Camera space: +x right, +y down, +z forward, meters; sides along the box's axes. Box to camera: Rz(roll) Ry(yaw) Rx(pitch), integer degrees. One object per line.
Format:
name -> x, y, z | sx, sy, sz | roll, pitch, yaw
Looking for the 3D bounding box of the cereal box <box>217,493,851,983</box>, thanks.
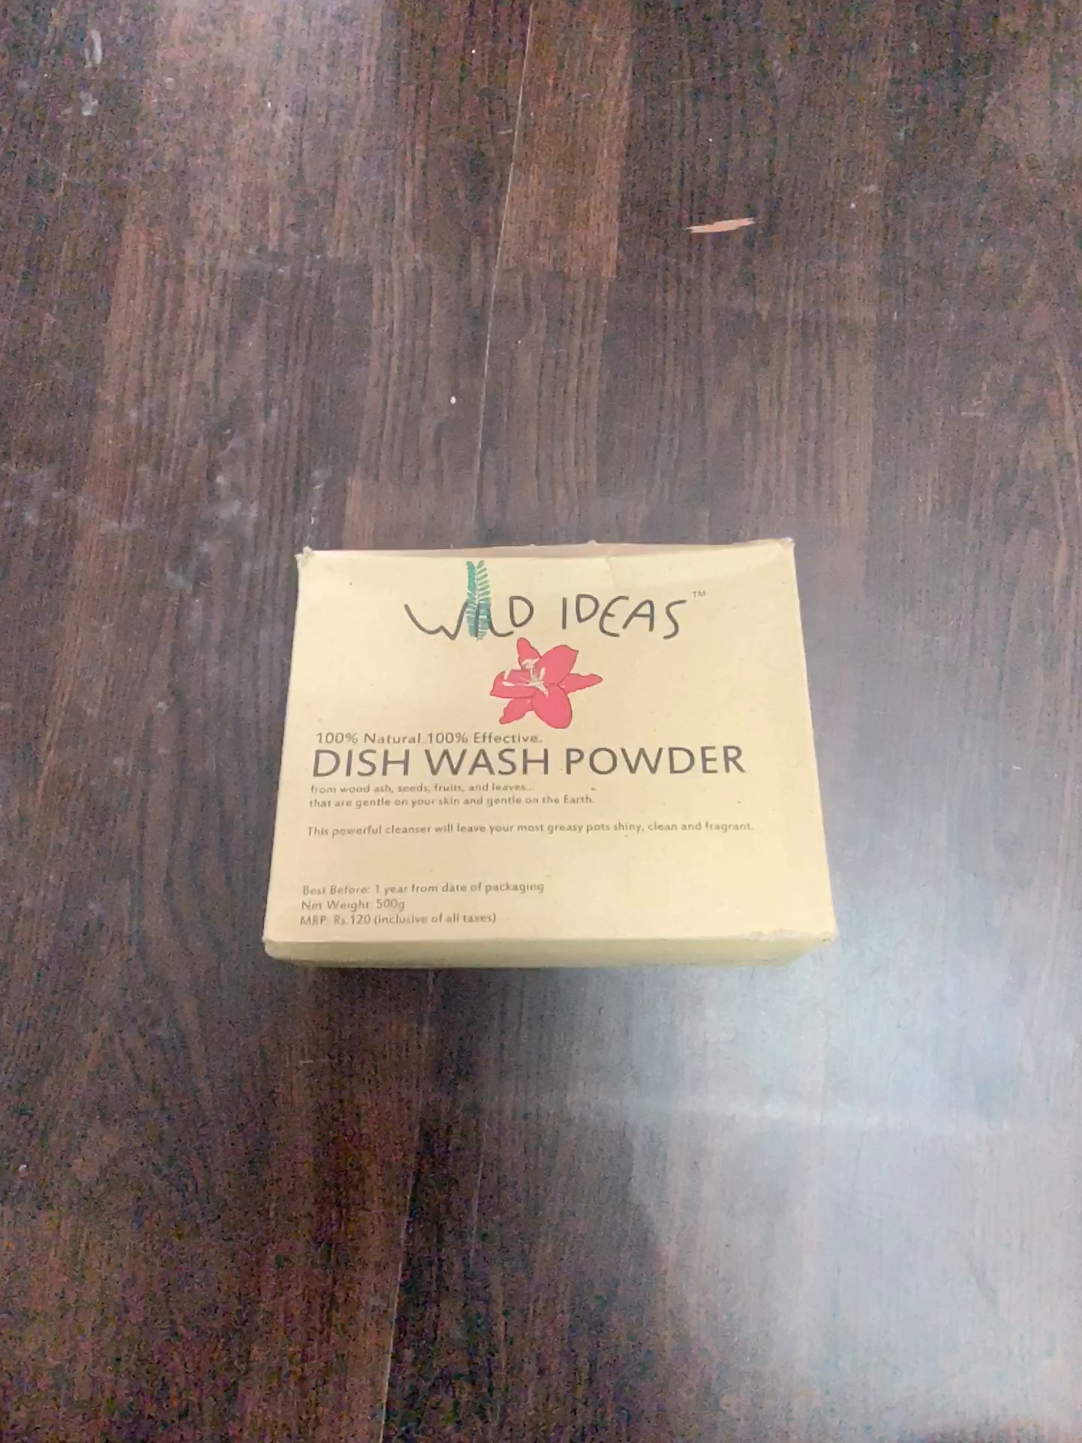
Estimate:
cereal box -> -0.002, 0.006, 0.372 | 0.180, 0.060, 0.150 | -1, 67, 2
